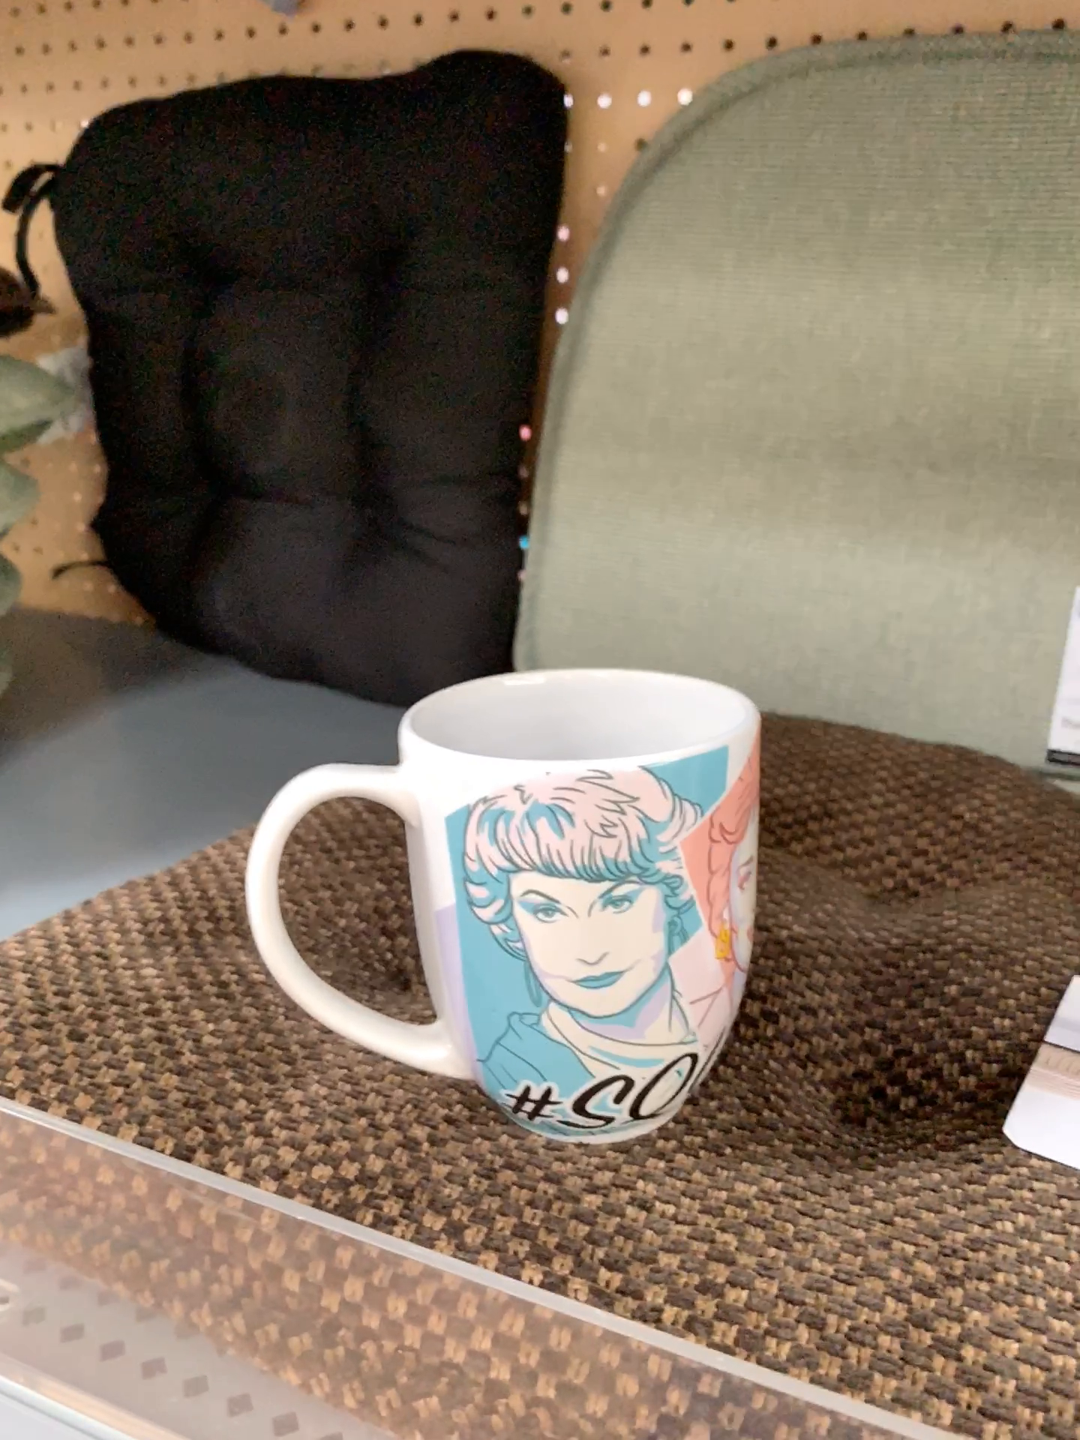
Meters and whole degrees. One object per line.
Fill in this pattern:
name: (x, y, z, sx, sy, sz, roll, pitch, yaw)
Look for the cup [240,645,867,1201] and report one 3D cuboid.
cup: (-0.001, 0.043, 0.286, 0.128, 0.100, 0.090, -2, 18, -8)
